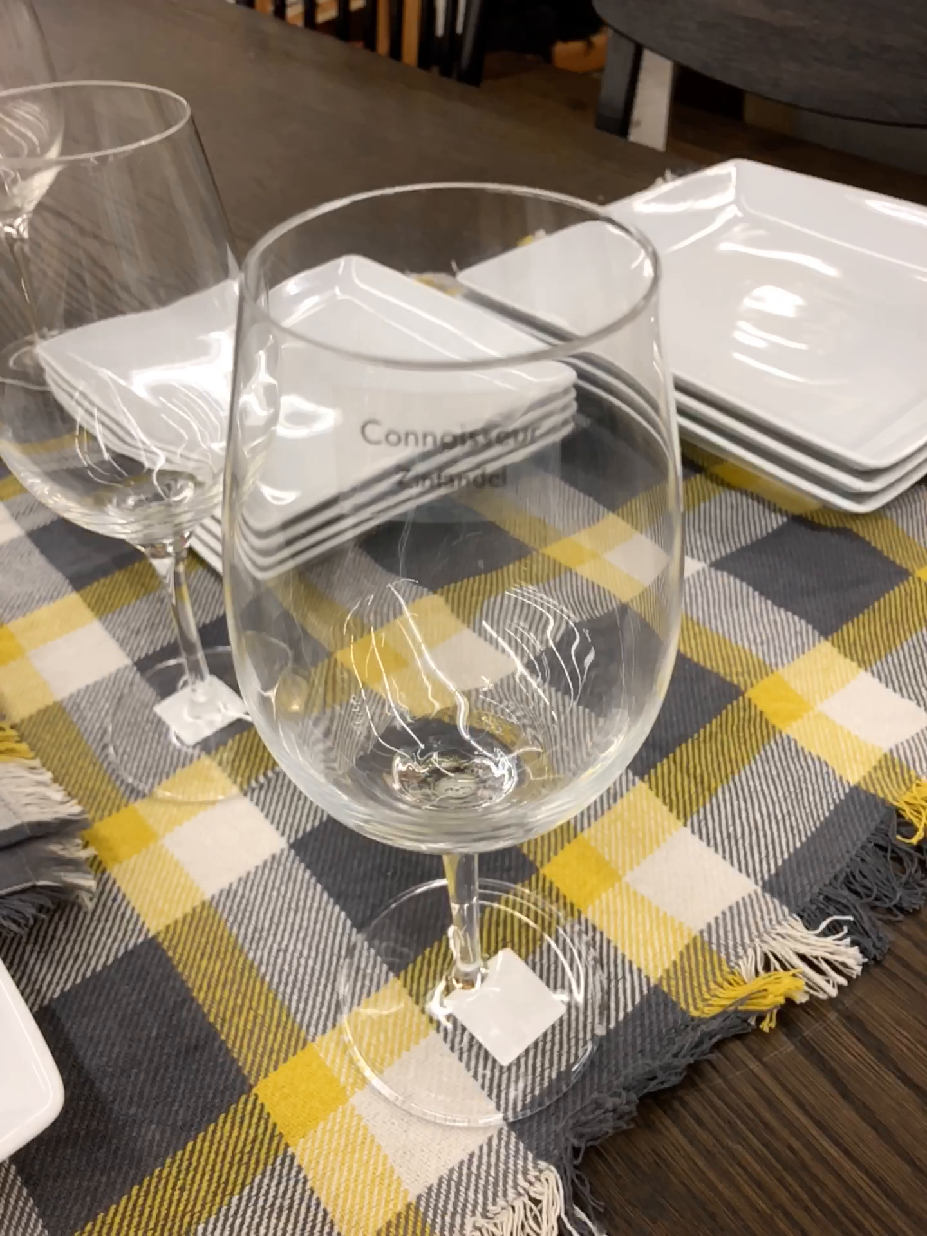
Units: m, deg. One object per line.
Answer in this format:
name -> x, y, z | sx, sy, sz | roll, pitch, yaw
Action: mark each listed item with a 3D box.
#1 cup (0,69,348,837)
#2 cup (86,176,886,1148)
cup -> -0.090, -0.037, 0.293 | 0.092, 0.193, 0.097 | 0, 42, 0
cup -> 0.002, 0.022, 0.219 | 0.092, 0.192, 0.097 | 0, 42, 0
